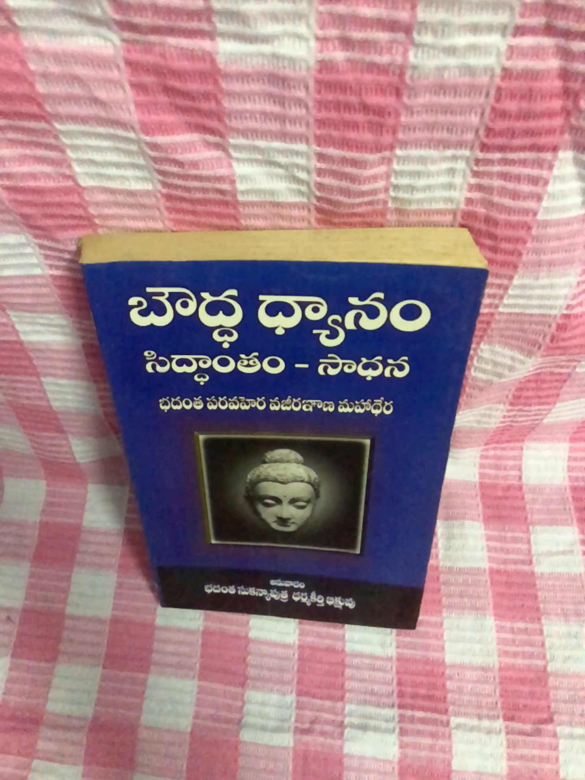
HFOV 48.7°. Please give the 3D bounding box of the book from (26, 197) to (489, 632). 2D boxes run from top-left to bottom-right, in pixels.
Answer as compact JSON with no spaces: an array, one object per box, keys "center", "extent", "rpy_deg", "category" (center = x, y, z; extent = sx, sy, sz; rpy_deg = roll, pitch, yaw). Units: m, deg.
[{"center":[-0.012,0.029,0.304],"extent":[0.160,0.229,0.030],"rpy_deg":[3,38,5],"category":"book"}]
